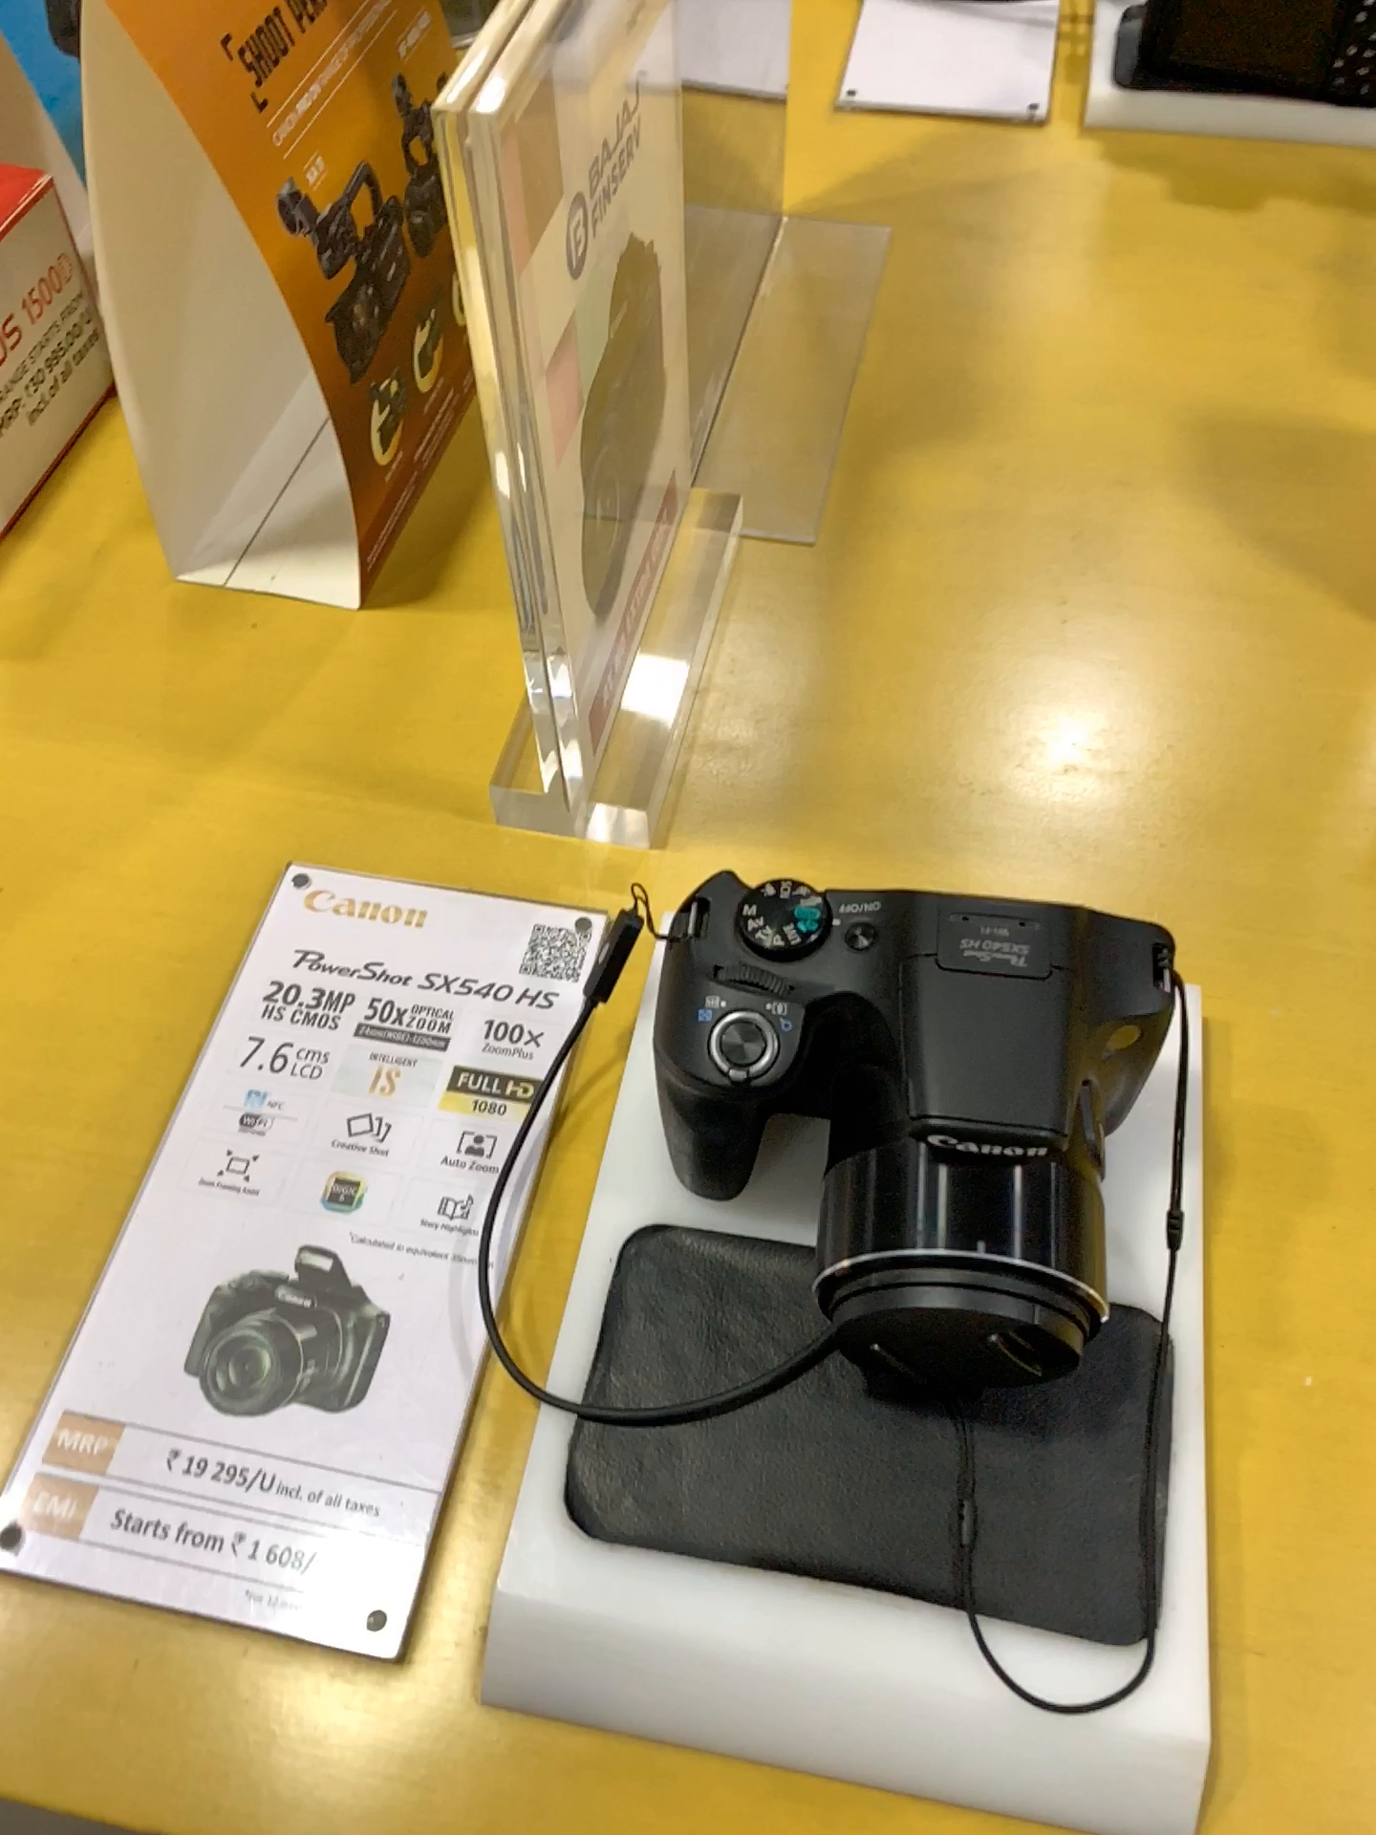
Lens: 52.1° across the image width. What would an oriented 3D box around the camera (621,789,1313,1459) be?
[{"bbox_3d":[0.057,0.043,0.306,0.120,0.070,0.110,6,56,6],"label":"camera"}]
